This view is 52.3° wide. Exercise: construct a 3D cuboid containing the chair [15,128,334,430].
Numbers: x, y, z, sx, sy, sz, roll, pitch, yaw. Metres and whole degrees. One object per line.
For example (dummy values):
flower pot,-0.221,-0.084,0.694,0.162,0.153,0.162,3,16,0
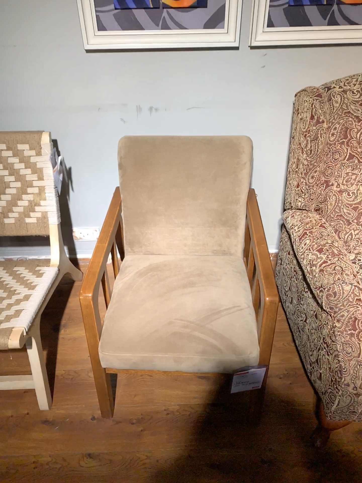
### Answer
chair,-0.008,0.093,1.401,0.720,0.737,0.873,0,38,1
